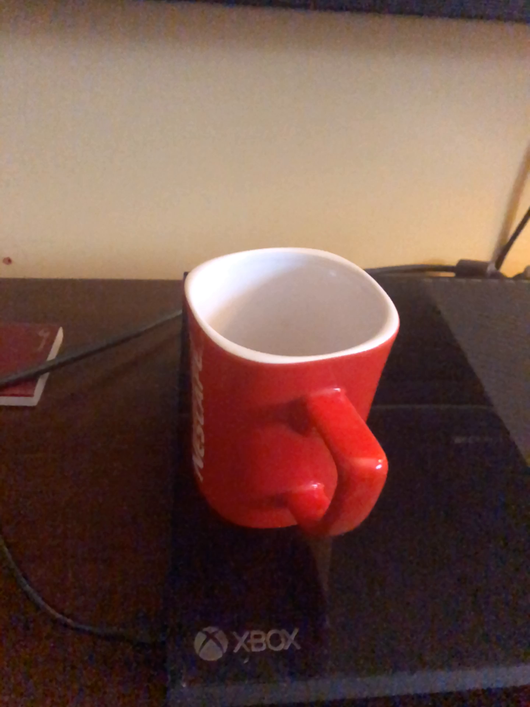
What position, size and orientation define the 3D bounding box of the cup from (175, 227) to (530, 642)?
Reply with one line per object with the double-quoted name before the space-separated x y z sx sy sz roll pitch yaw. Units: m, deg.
"cup" 0.020 0.021 0.222 0.080 0.089 0.111 -10 39 -19
